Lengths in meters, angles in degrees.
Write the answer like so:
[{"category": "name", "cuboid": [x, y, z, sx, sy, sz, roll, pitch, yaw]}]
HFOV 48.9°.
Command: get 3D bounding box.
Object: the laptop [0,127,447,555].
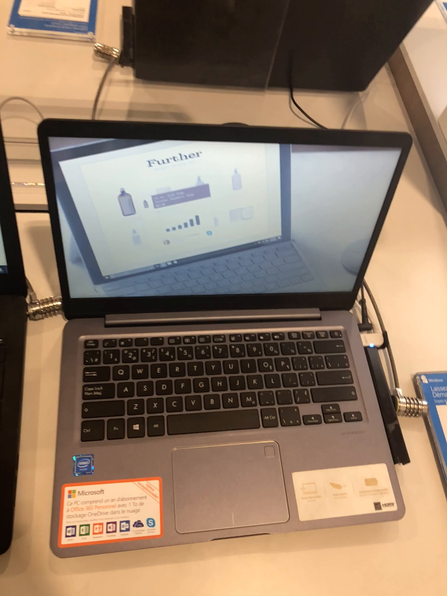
[{"category": "laptop", "cuboid": [0.015, 0.035, 0.428, 0.316, 0.197, 0.291, -2, 61, -10]}]
